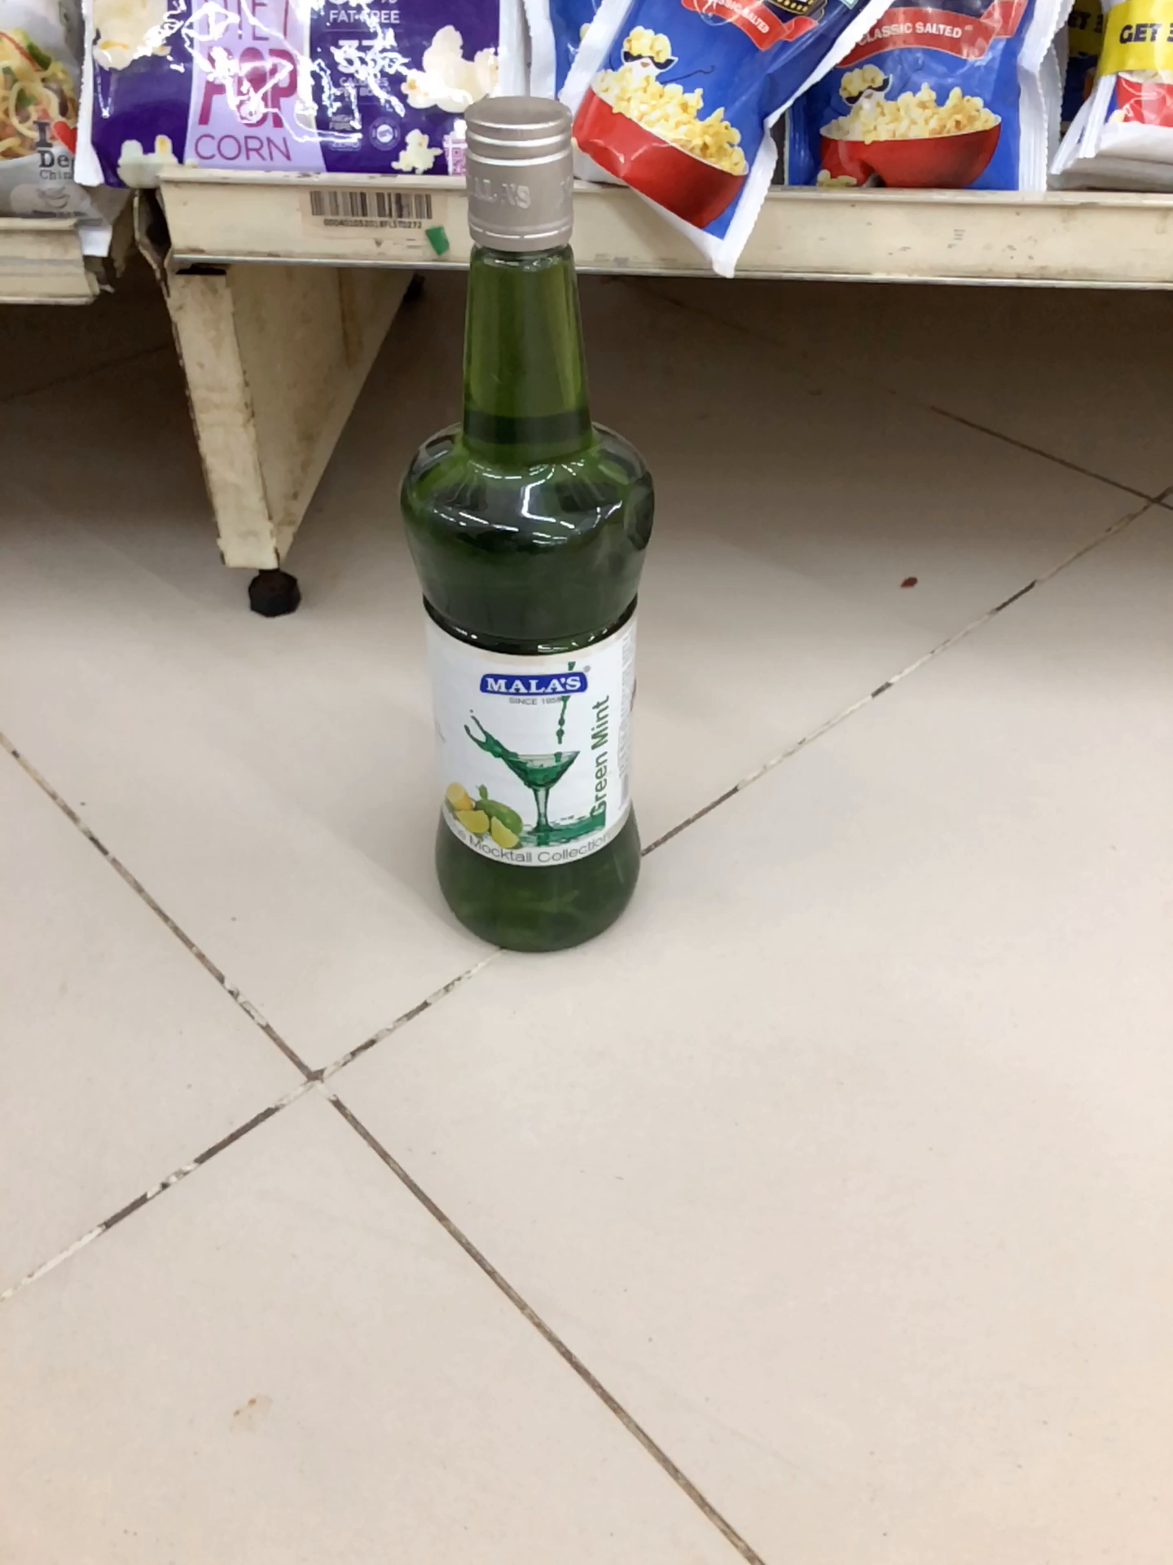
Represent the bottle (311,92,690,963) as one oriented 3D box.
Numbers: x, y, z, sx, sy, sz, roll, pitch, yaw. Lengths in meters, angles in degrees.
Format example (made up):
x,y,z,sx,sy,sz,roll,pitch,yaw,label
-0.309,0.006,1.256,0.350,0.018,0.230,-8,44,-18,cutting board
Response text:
x,y,z,sx,sy,sz,roll,pitch,yaw,label
-0.018,-0.065,0.435,0.090,0.278,0.091,0,42,0,bottle
